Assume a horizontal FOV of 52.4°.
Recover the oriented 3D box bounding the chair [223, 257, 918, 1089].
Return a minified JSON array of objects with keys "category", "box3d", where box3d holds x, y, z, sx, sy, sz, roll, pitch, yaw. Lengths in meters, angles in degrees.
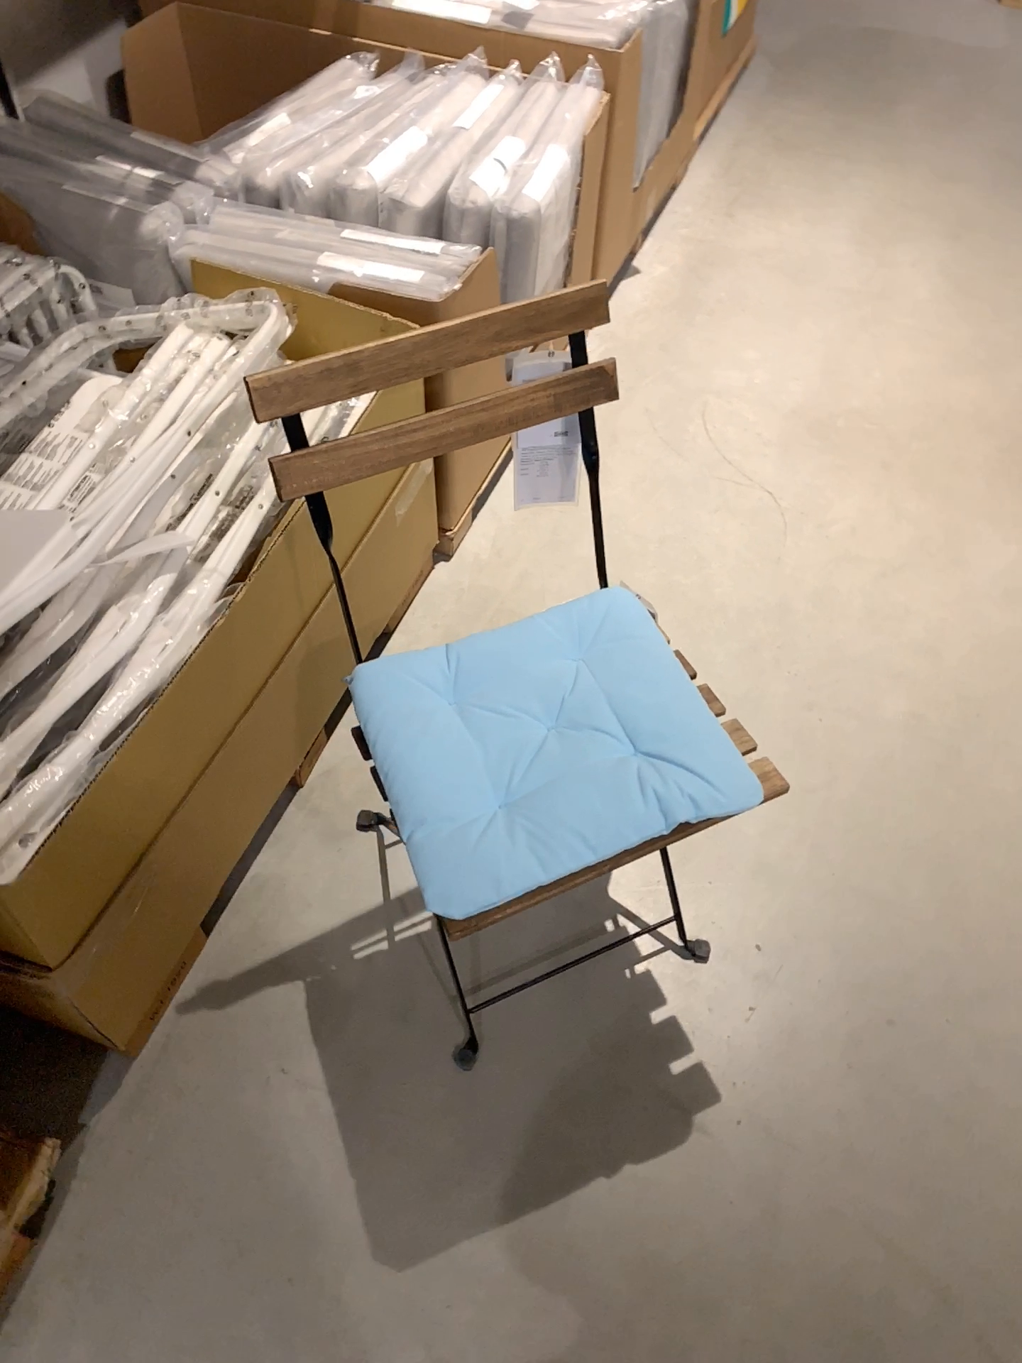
[{"category":"chair","box3d":[0.021,0.036,1.144,0.400,0.738,0.461,-21,56,-16]}]
